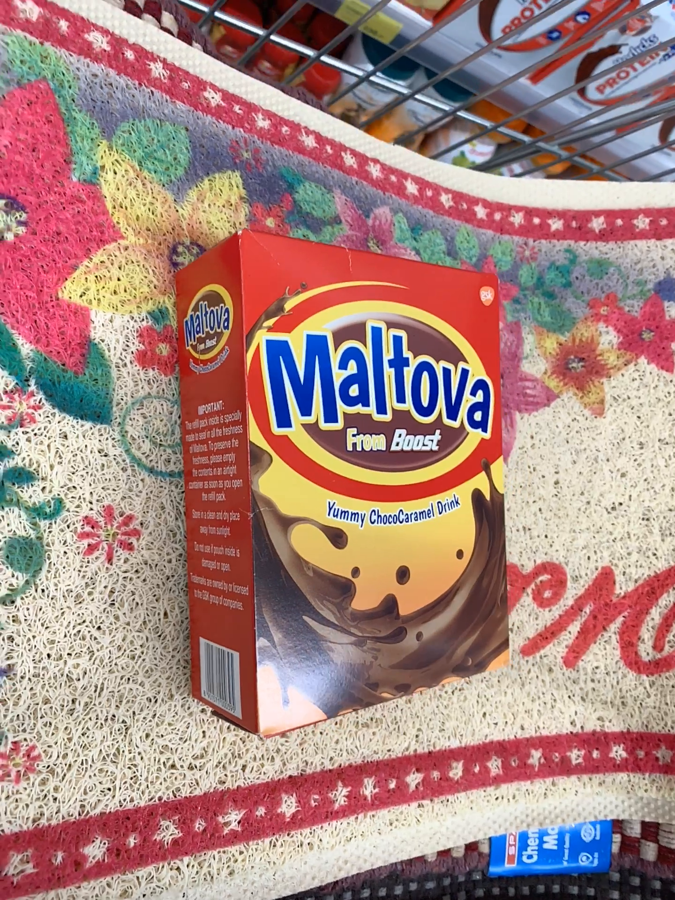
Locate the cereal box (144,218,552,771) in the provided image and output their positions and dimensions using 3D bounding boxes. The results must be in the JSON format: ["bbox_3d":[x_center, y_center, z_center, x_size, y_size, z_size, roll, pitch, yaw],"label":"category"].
[{"bbox_3d":[0.009,0.012,0.277,0.151,0.050,0.170,-1,87,-33],"label":"cereal box"}]
